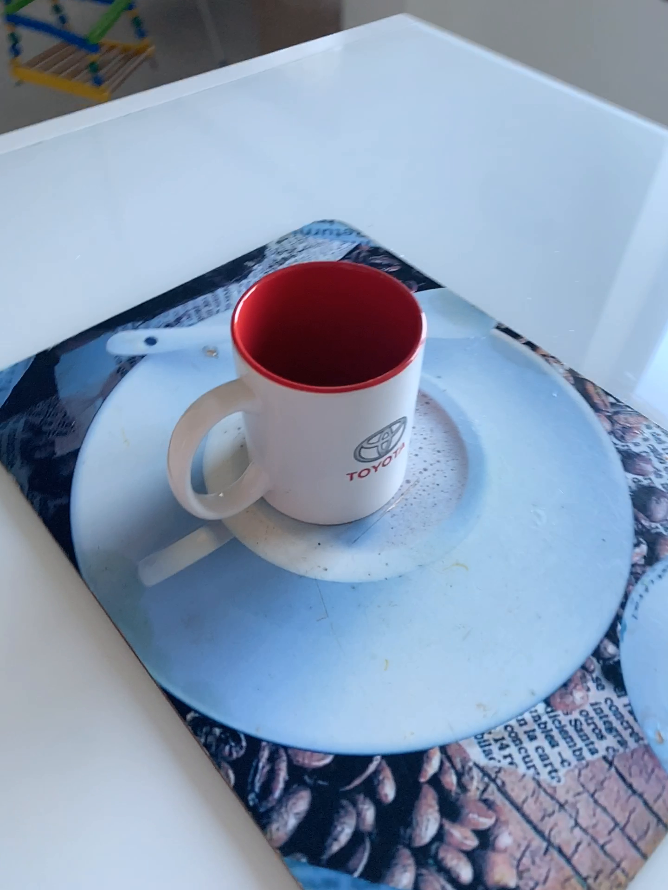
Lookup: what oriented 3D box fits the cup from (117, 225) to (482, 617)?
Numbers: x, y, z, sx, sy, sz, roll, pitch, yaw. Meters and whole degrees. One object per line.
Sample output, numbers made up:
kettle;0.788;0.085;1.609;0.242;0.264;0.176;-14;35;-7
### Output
cup;-0.013;-0.010;0.306;0.117;0.115;0.077;-31;57;-24
